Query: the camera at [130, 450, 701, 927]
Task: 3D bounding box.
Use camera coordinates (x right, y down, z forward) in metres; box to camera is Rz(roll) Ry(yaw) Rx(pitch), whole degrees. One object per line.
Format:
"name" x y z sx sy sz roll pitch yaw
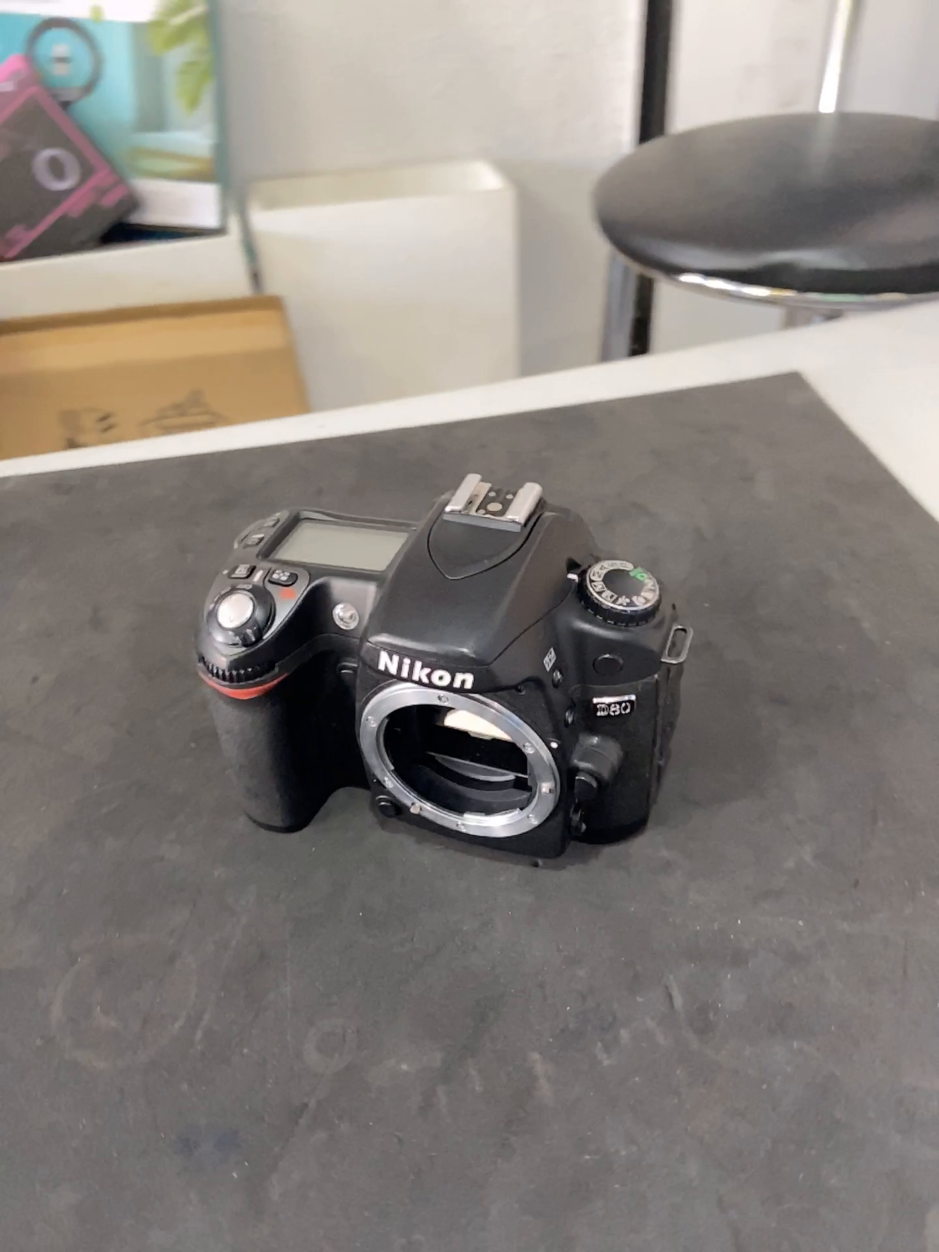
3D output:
"camera" -0.009 0.014 0.293 0.135 0.088 0.084 9 42 16
